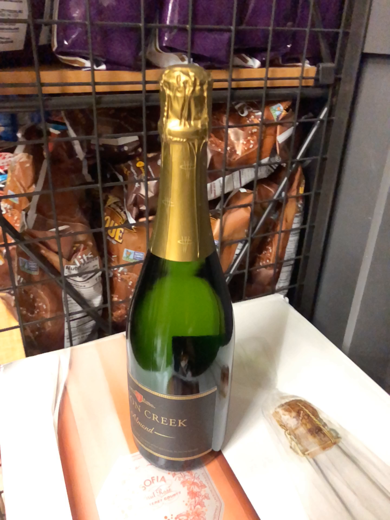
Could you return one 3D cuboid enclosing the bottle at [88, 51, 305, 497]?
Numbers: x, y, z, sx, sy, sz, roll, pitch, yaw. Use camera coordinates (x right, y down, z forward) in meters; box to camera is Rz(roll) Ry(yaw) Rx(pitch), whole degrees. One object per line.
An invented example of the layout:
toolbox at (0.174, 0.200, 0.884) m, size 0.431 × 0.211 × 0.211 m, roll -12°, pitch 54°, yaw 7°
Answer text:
bottle at (-0.003, 0.018, 0.322) m, size 0.090 × 0.309 × 0.090 m, roll 2°, pitch 27°, yaw -1°
